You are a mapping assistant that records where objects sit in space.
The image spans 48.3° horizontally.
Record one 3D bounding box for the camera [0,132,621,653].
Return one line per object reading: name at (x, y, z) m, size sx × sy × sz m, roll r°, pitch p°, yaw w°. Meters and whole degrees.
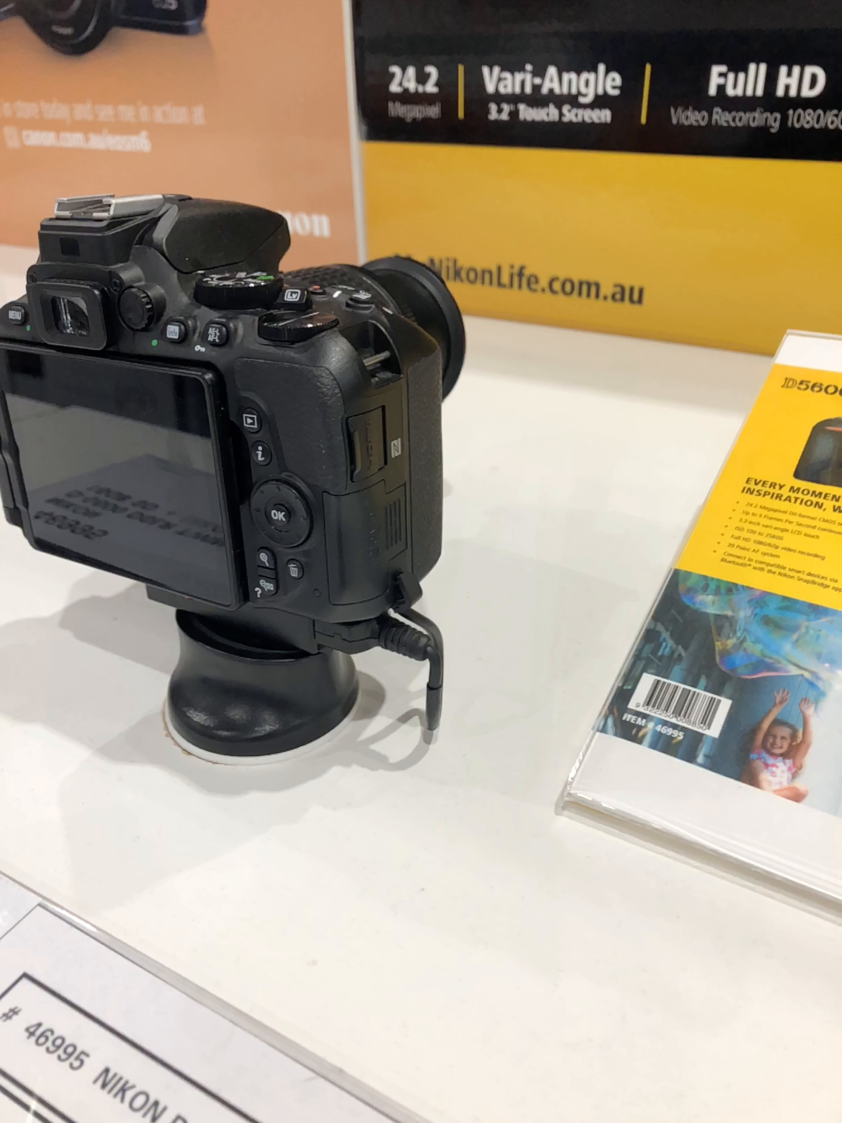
camera at (-0.032, -0.071, 0.289) m, size 0.127 × 0.097 × 0.163 m, roll 15°, pitch 33°, yaw 28°
